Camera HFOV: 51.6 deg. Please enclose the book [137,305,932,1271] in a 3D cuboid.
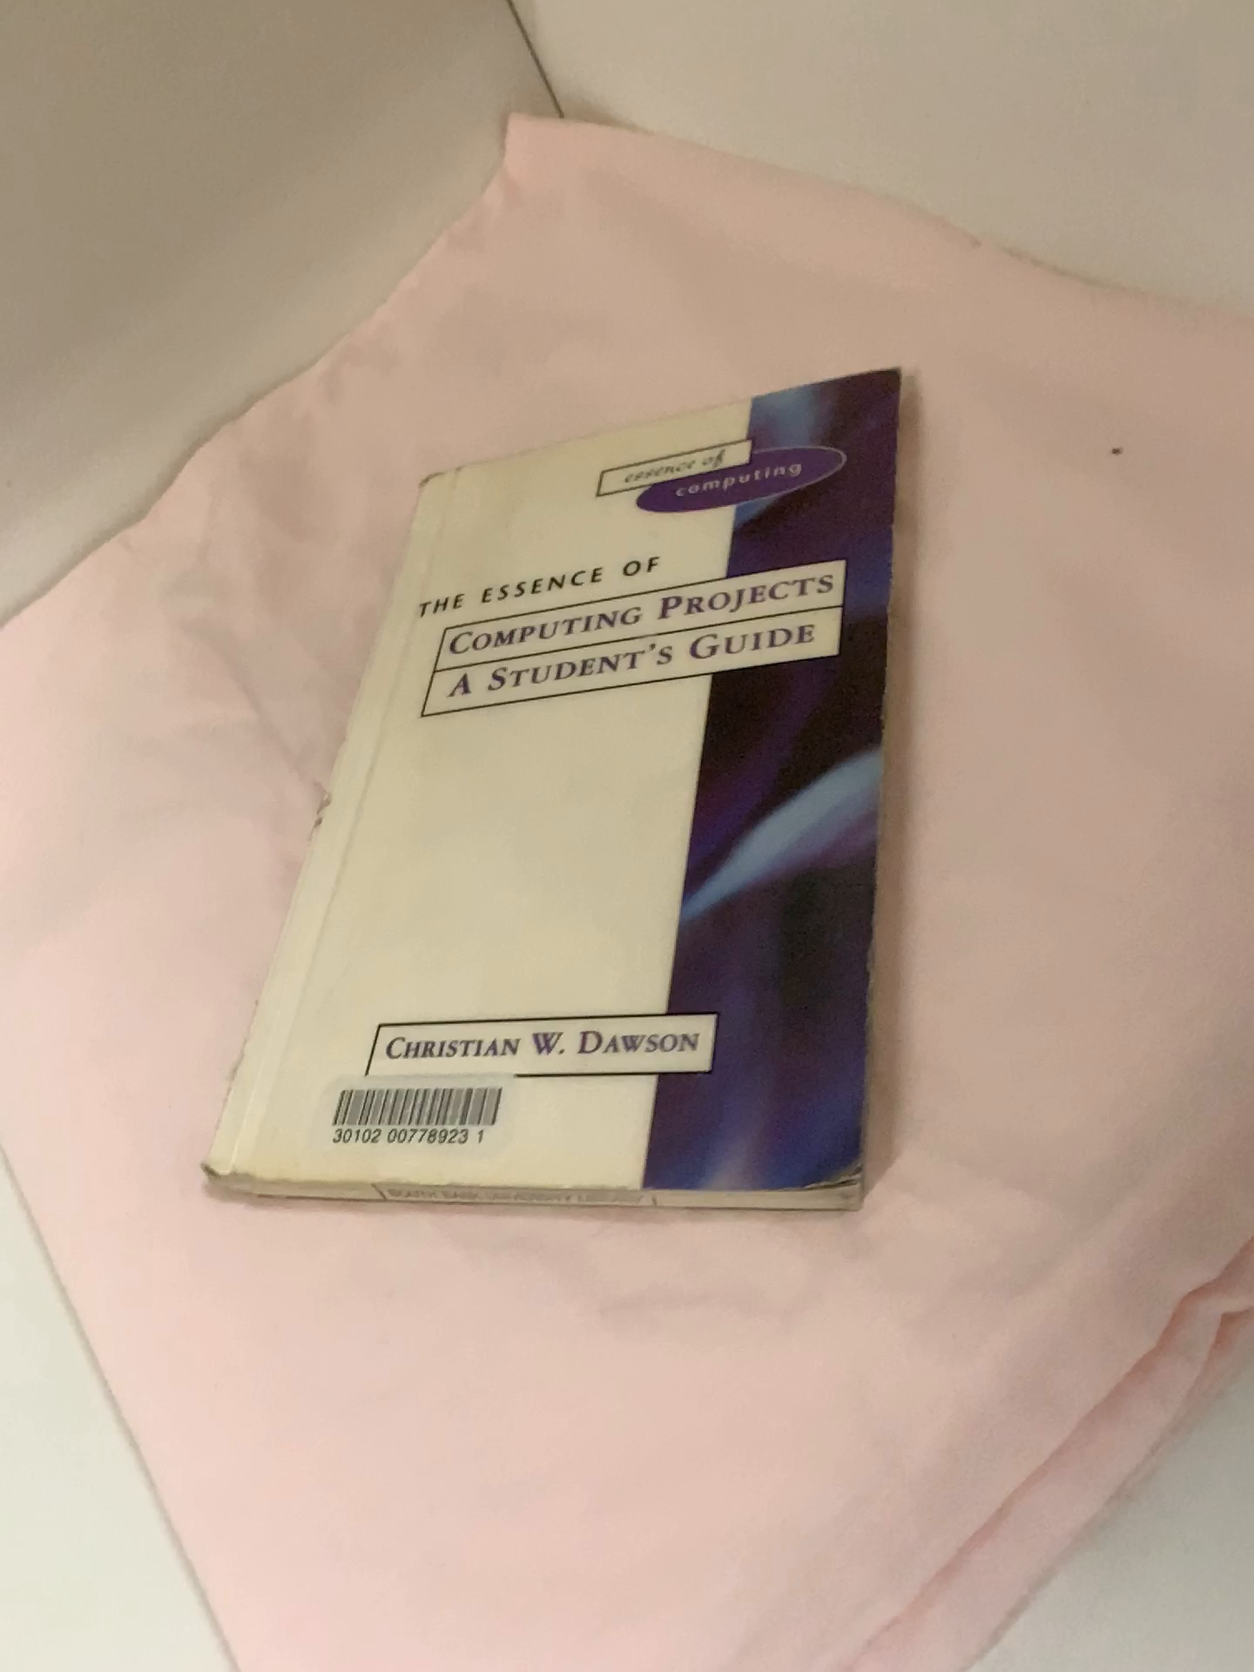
[{"bbox_3d":[-0.011,-0.026,0.335,0.171,0.020,0.261,-7,54,25],"label":"book"}]
